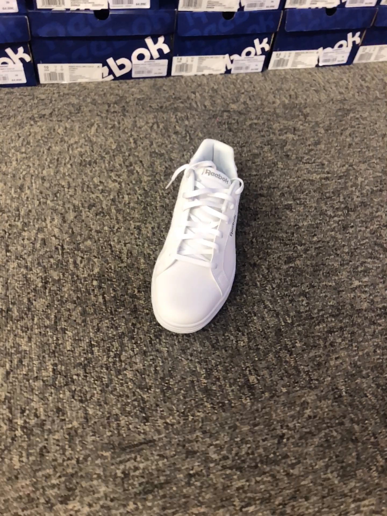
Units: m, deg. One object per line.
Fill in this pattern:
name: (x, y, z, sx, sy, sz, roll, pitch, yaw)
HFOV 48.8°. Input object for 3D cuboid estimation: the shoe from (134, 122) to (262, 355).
shoe: (0.011, -0.031, 0.526, 0.100, 0.100, 0.261, 12, 59, 1)
